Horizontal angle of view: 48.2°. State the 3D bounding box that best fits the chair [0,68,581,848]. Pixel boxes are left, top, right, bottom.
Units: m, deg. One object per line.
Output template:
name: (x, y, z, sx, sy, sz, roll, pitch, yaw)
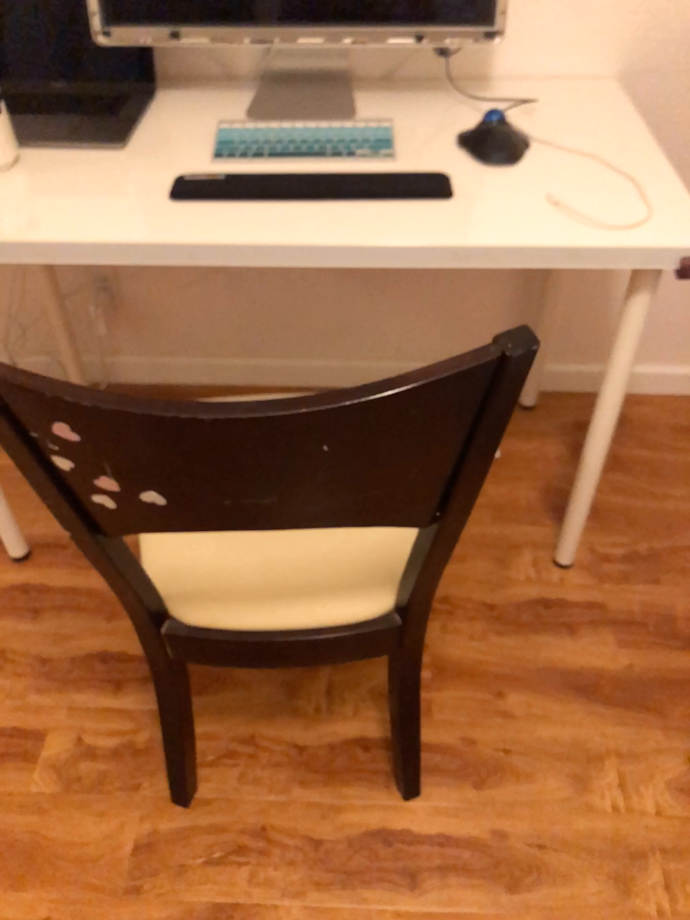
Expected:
chair: (-0.115, 0.032, 1.089, 0.570, 0.885, 0.664, 0, 44, 1)
